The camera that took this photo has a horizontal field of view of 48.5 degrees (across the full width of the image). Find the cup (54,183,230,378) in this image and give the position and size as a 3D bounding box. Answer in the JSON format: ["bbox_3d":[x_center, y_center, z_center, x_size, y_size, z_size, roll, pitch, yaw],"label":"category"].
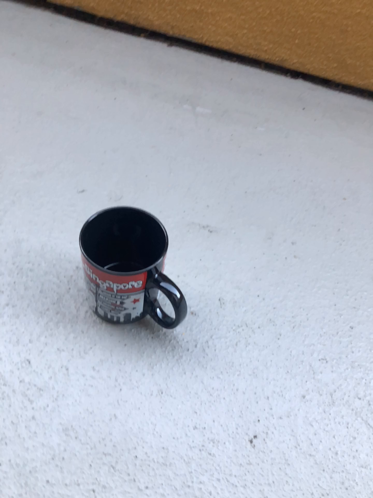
[{"bbox_3d":[-0.045,0.031,0.394,0.130,0.110,0.080,38,57,19],"label":"cup"}]
